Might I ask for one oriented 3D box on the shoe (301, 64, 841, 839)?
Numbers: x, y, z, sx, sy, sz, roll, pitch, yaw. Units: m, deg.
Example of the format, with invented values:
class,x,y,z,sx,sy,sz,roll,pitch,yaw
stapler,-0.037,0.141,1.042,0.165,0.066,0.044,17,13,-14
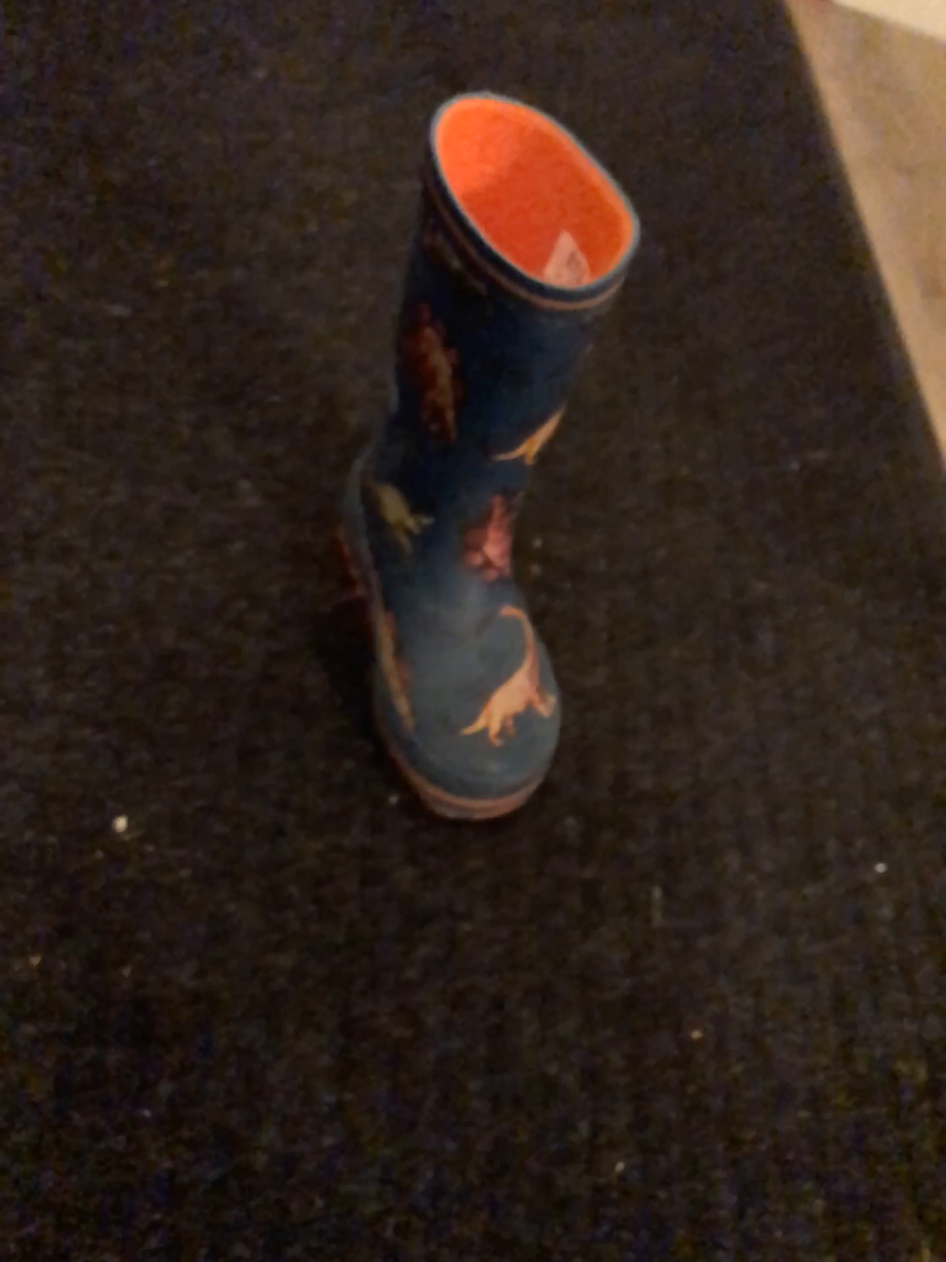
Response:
class,x,y,z,sx,sy,sz,roll,pitch,yaw
shoe,0.009,-0.058,0.381,0.080,0.179,0.190,-3,54,-22
